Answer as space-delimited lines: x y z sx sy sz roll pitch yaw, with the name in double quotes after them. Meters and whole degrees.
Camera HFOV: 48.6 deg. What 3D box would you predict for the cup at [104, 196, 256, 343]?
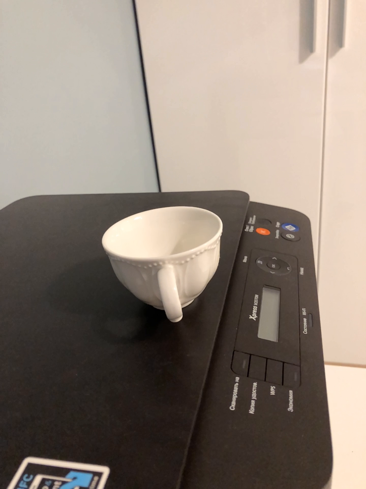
-0.006 0.009 0.257 0.076 0.044 0.094 -9 24 -5 "cup"
